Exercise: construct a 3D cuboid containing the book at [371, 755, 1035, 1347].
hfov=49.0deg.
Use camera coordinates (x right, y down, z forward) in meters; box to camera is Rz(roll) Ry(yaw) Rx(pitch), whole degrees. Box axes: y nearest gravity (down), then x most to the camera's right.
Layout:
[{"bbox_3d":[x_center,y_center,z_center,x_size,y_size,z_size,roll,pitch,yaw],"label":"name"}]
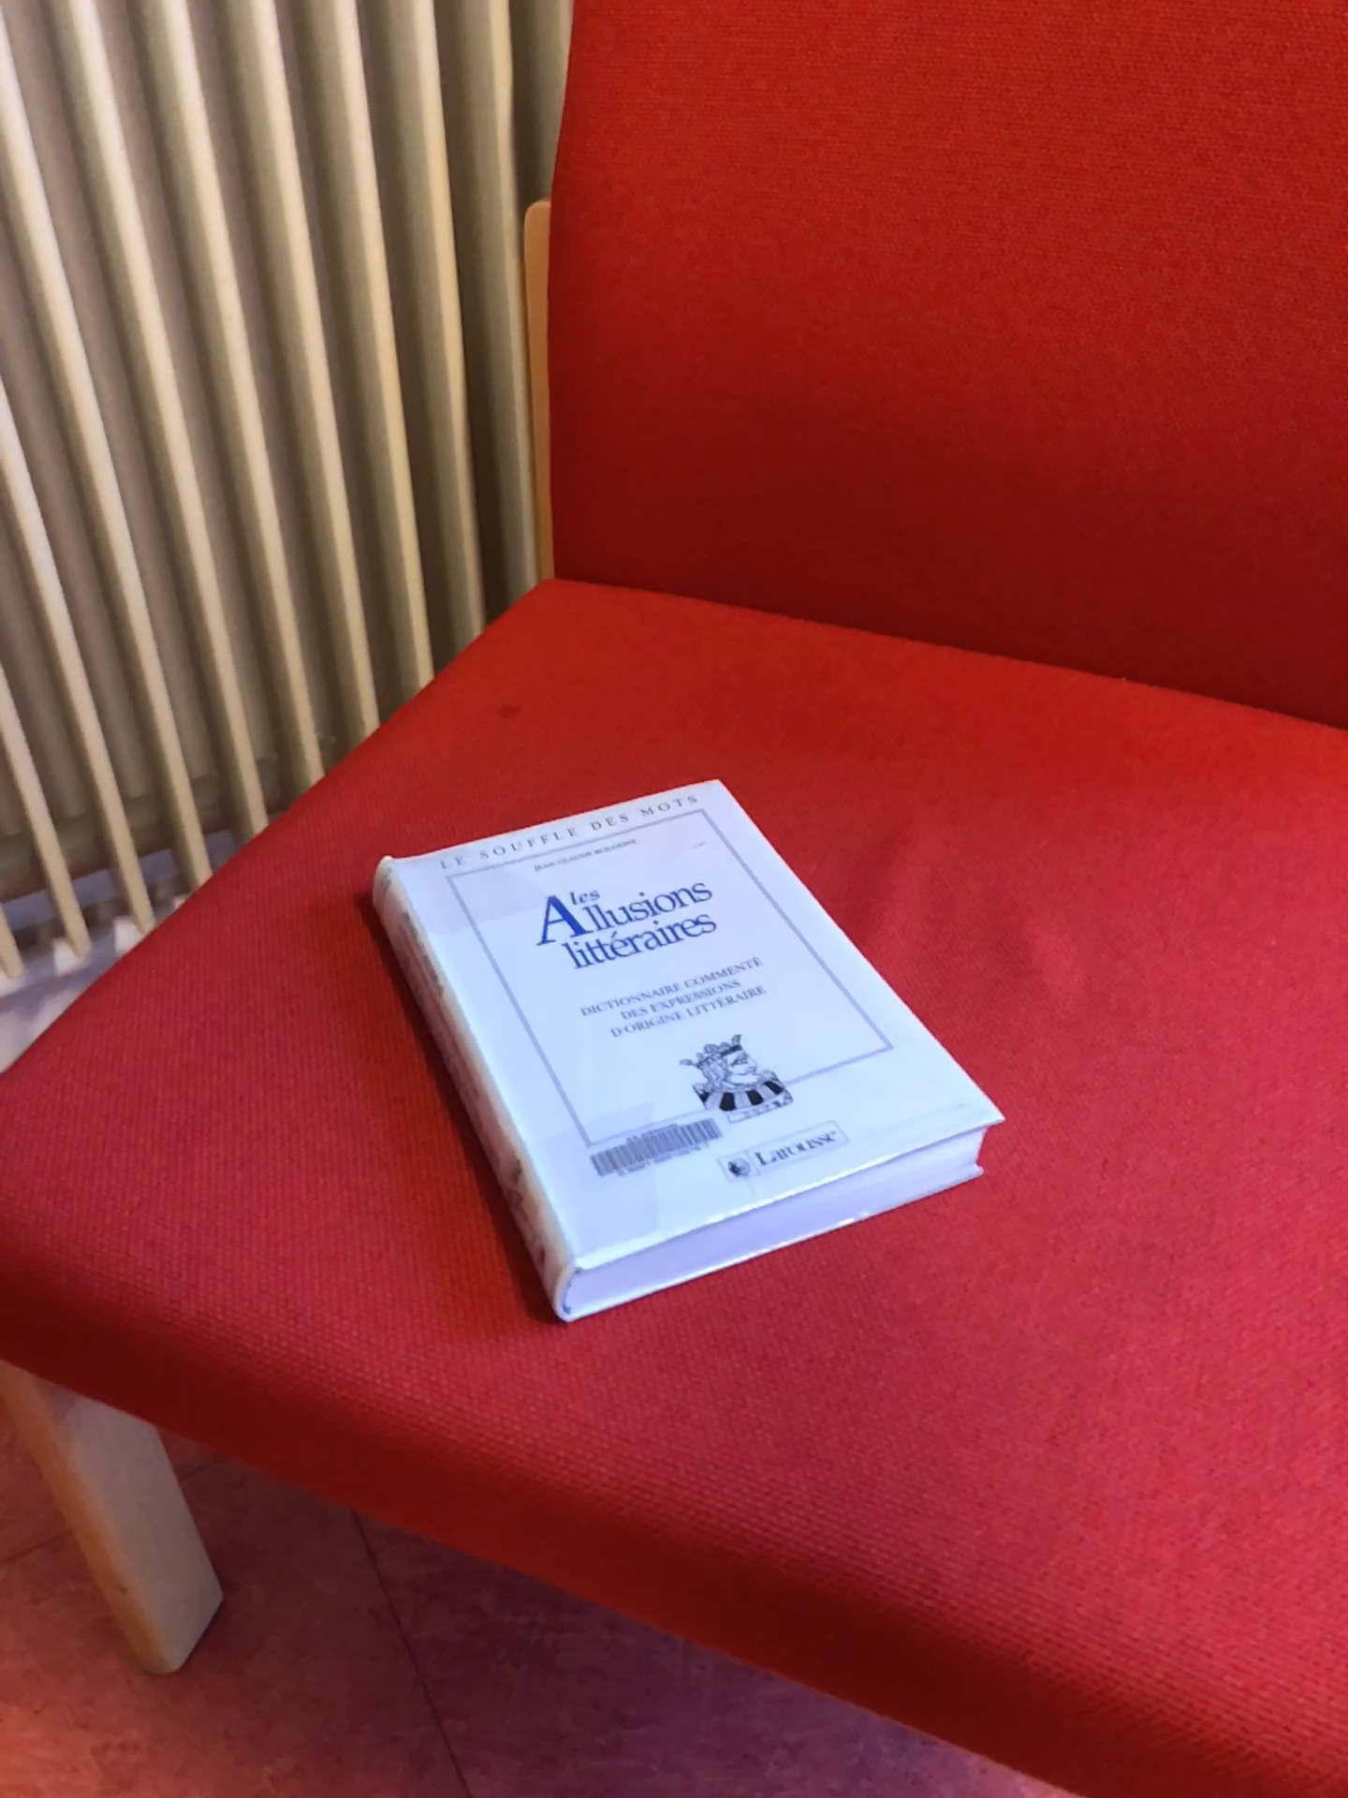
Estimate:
[{"bbox_3d":[-0.002,0.035,0.516,0.150,0.030,0.218,-16,42,-18],"label":"book"}]
